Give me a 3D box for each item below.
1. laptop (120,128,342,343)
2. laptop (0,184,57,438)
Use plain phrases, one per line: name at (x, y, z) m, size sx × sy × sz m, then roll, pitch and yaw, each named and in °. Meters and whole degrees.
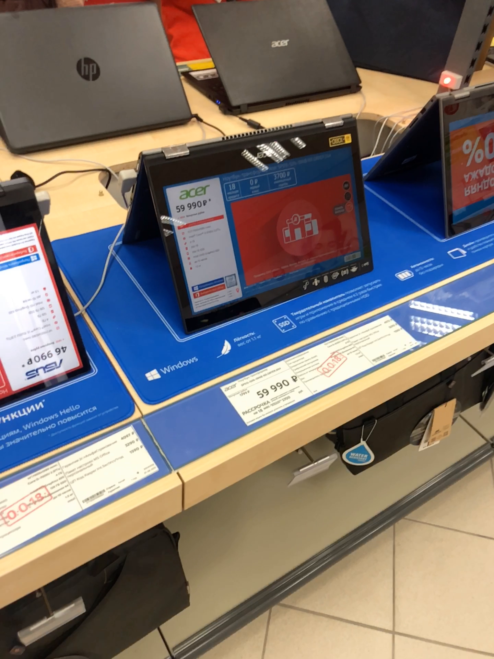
laptop at (-0.034, -0.136, 0.864) m, size 0.308 × 0.159 × 0.201 m, roll -22°, pitch 14°, yaw -33°
laptop at (-0.374, -0.002, 0.639) m, size 0.269 × 0.179 × 0.175 m, roll -21°, pitch 19°, yaw -29°
